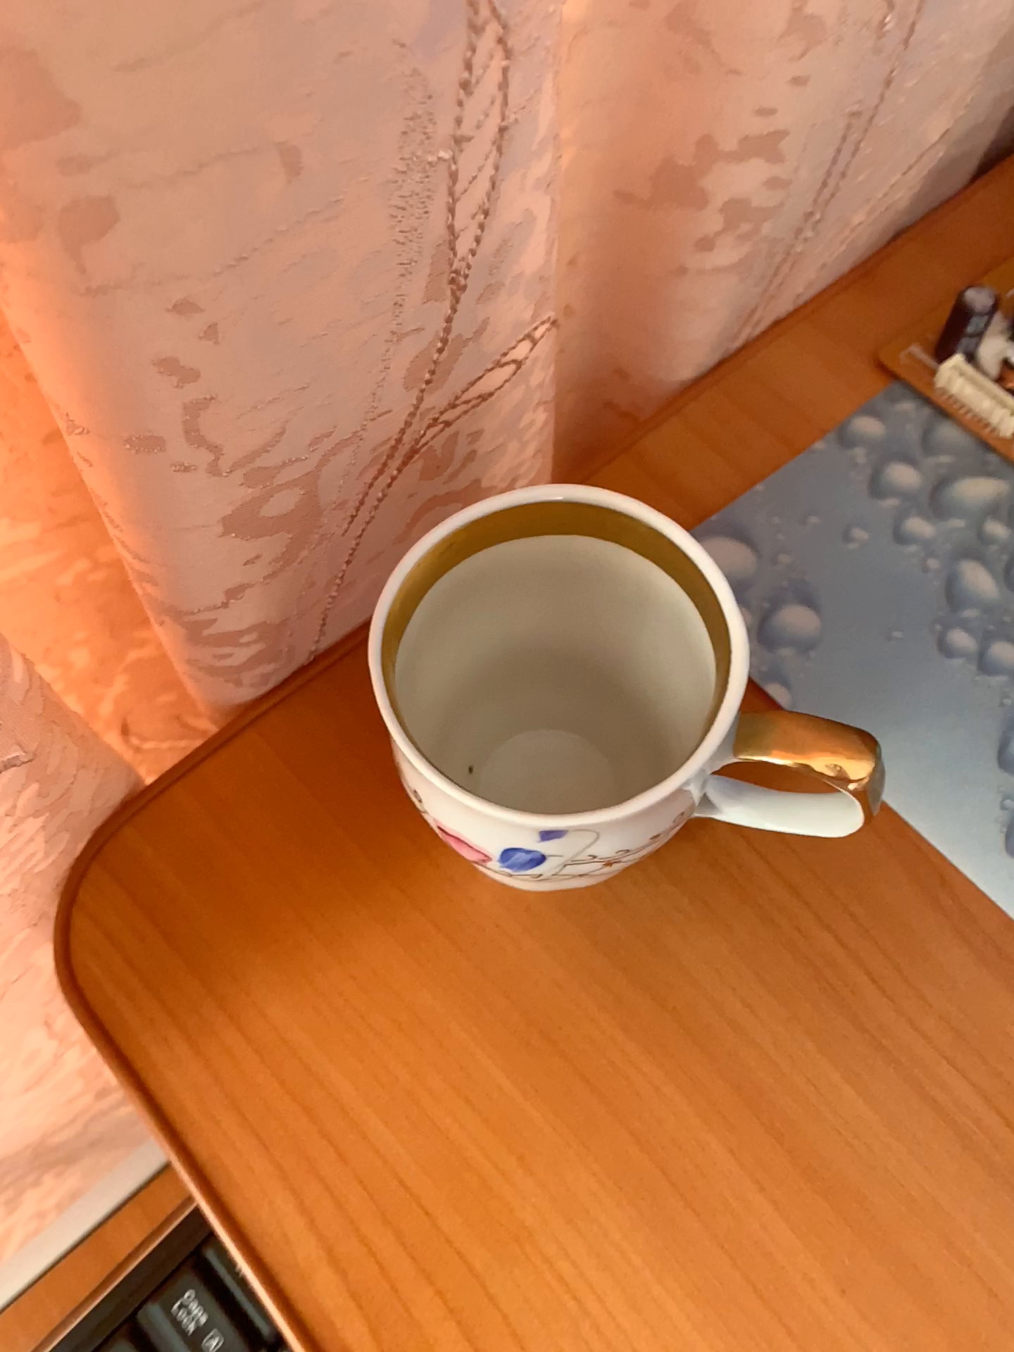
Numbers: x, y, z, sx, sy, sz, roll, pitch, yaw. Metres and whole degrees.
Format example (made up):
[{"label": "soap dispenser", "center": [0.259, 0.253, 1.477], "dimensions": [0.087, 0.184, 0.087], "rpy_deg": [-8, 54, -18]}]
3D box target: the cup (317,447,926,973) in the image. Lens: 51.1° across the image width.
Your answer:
[{"label": "cup", "center": [0.020, 0.007, 0.183], "dimensions": [0.082, 0.055, 0.059], "rpy_deg": [10, 63, 7]}]
